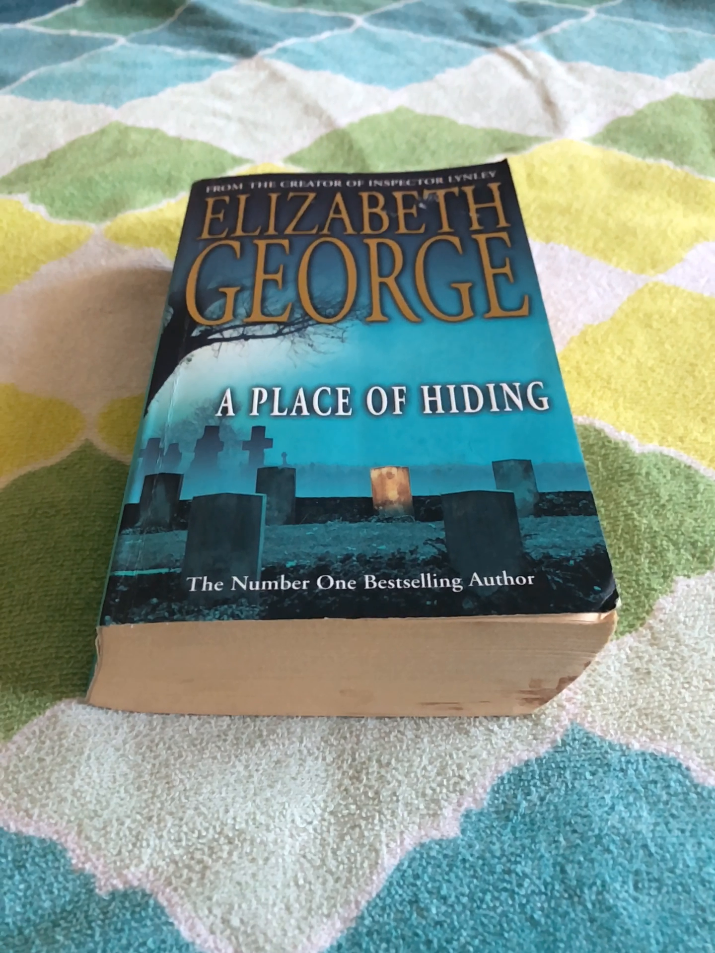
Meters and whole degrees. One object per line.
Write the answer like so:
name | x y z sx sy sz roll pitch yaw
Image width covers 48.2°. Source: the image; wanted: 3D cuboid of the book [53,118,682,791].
book | -0.003 -0.020 0.254 0.130 0.070 0.211 2 53 -6
